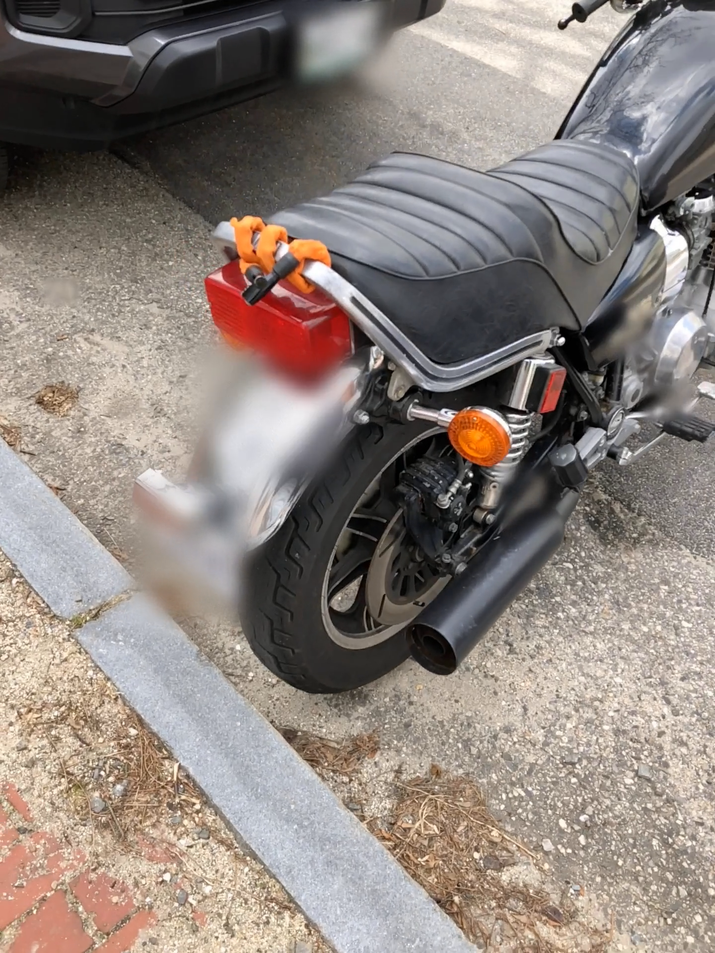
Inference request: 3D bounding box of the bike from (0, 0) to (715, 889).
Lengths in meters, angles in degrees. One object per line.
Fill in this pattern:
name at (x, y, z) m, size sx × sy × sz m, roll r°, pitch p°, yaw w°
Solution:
bike at (0.589, -0.551, 1.659) m, size 0.687 × 1.418 × 2.307 m, roll 33°, pitch 53°, yaw 26°
